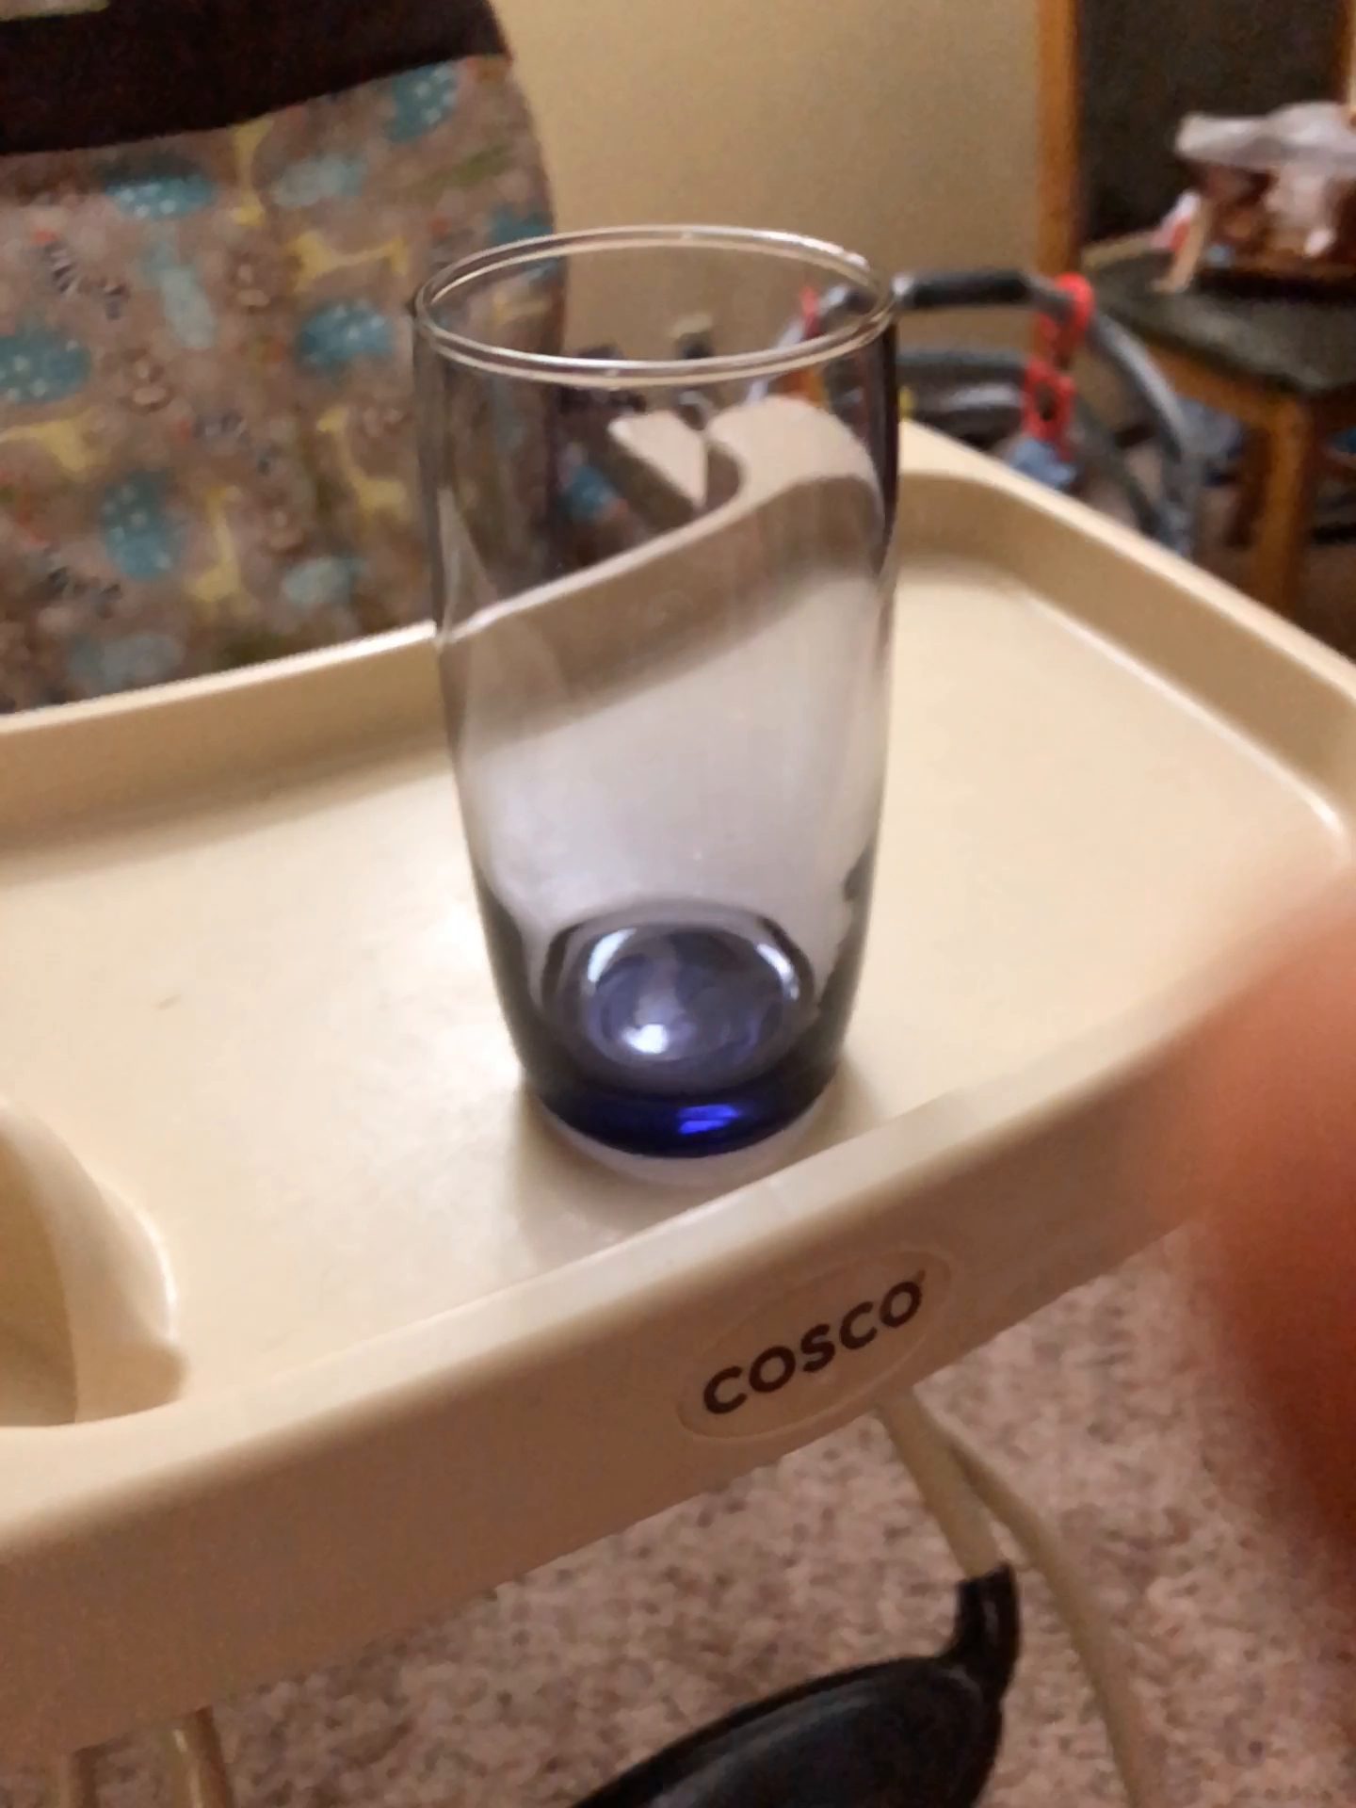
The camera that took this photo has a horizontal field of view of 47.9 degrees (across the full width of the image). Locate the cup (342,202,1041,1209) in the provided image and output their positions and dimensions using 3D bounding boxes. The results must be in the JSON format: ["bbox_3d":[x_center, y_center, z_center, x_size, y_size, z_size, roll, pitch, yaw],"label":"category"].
[{"bbox_3d":[-0.003,-0.032,0.255,0.083,0.134,0.085,-1,38,1],"label":"cup"}]
